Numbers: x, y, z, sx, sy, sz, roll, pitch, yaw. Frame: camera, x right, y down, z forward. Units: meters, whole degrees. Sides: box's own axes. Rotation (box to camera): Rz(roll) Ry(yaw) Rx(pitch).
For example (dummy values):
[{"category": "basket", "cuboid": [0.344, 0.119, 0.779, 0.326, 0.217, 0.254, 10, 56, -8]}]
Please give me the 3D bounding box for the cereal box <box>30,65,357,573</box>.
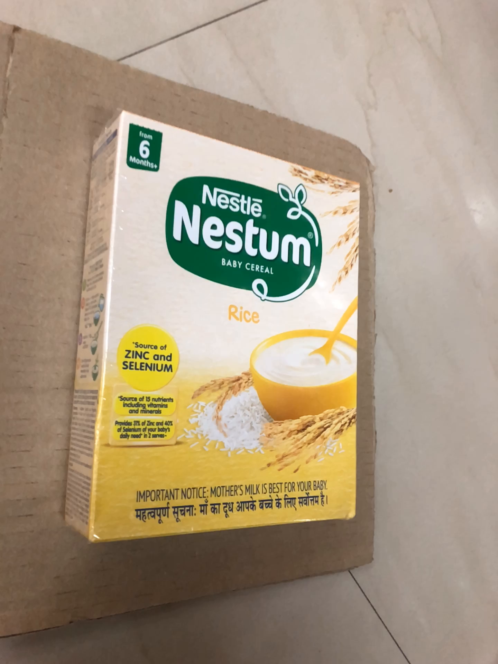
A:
[{"category": "cereal box", "cuboid": [-0.021, -0.002, 0.290, 0.150, 0.060, 0.210, 7, 82, -32]}]
